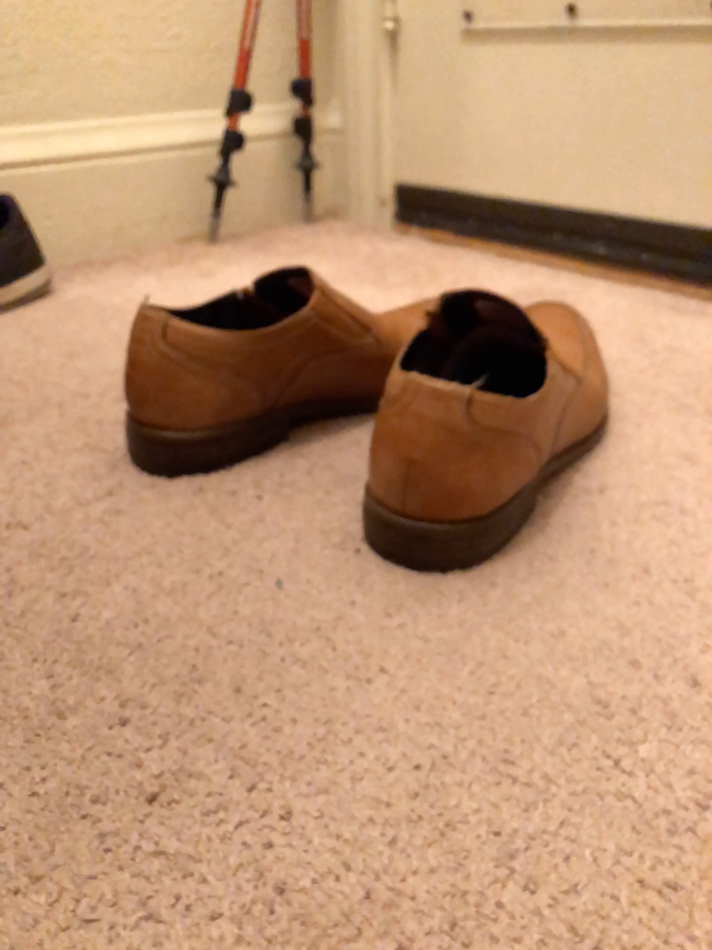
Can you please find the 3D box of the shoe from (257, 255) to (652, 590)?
[{"bbox_3d":[0.080,-0.058,0.484,0.107,0.089,0.312,15,29,28],"label":"shoe"}]

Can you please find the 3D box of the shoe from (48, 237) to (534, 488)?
[{"bbox_3d":[-0.026,-0.094,0.547,0.321,0.090,0.100,-19,33,-36],"label":"shoe"}]
